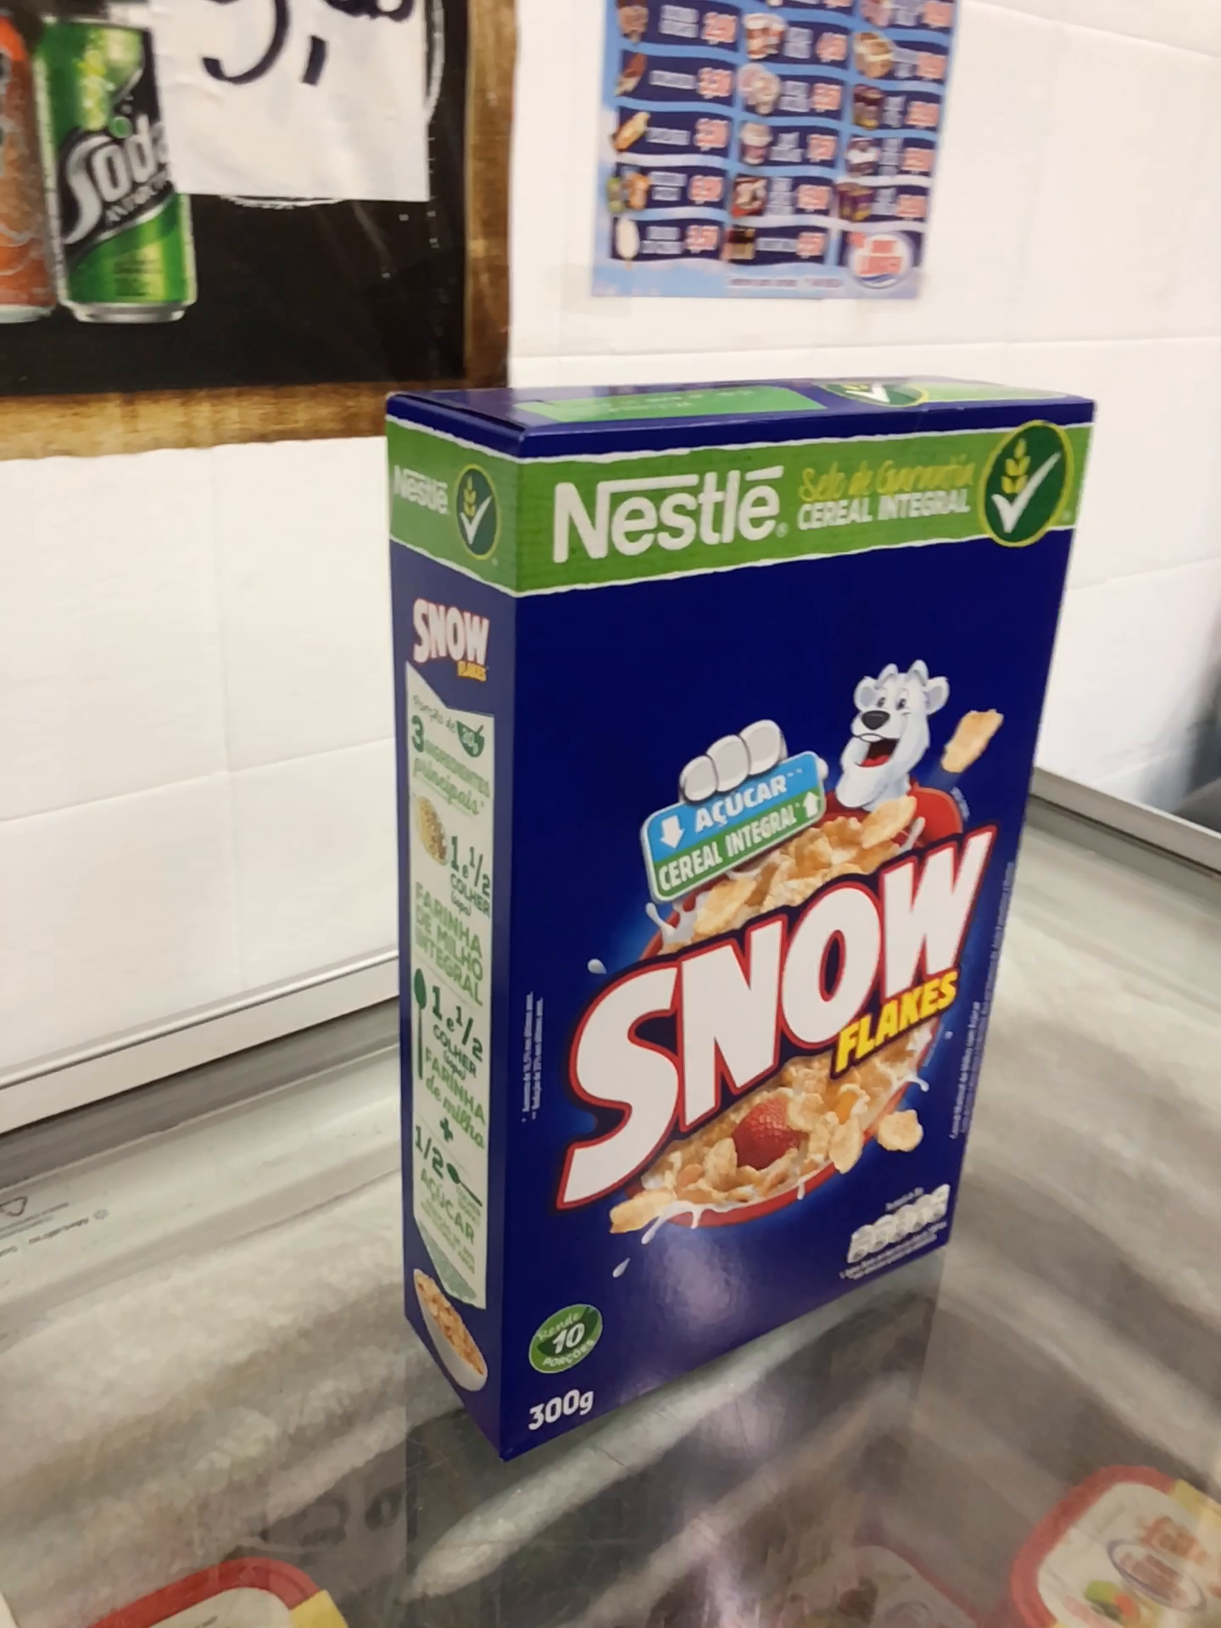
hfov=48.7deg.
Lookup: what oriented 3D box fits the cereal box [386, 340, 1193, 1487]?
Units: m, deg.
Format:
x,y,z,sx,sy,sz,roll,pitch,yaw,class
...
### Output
x,y,z,sx,sy,sz,roll,pitch,yaw,class
0.036,0.018,0.348,0.170,0.258,0.070,-11,28,-30,cereal box
